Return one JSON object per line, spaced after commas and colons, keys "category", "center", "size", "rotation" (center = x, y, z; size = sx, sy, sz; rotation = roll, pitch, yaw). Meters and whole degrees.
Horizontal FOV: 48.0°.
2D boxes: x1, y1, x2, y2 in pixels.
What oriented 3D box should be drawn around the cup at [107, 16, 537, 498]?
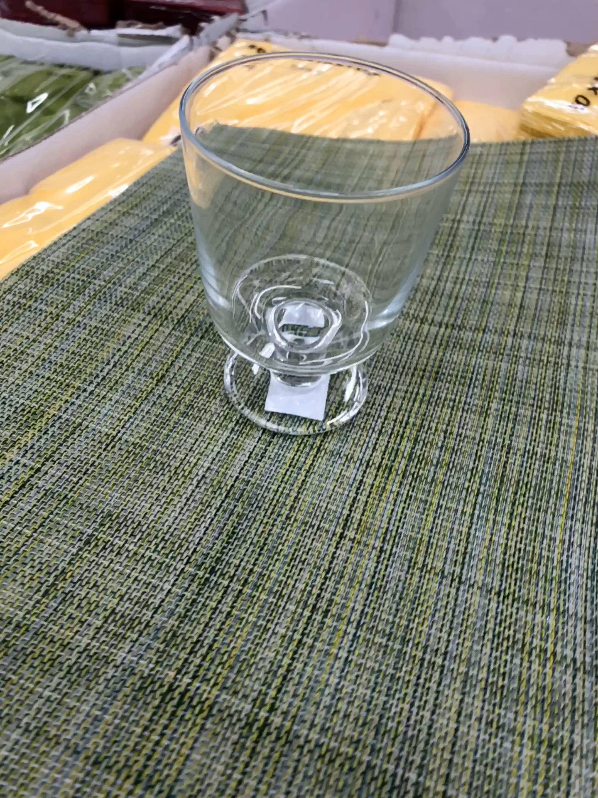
{"category": "cup", "center": [0.005, -0.048, 0.235], "size": [0.090, 0.110, 0.090], "rotation": [4, 51, -4]}
